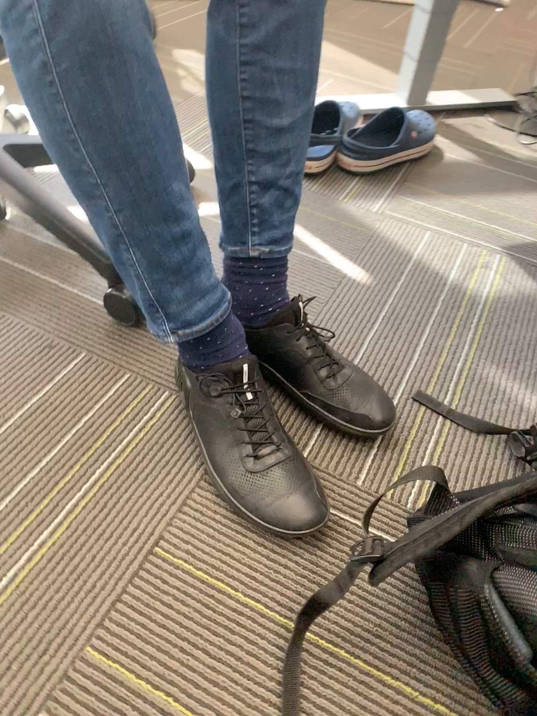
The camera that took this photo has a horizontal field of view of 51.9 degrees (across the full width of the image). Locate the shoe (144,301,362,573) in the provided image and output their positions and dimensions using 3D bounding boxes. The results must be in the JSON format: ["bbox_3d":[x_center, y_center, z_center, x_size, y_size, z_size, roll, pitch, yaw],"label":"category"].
[{"bbox_3d":[-0.035,0.077,0.665,0.110,0.100,0.311,-20,52,-24],"label":"shoe"}]

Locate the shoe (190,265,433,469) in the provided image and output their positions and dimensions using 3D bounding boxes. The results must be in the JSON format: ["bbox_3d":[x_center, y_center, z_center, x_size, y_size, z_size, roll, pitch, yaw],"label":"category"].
[{"bbox_3d":[0.046,0.003,0.758,0.311,0.100,0.110,31,50,21],"label":"shoe"}]
